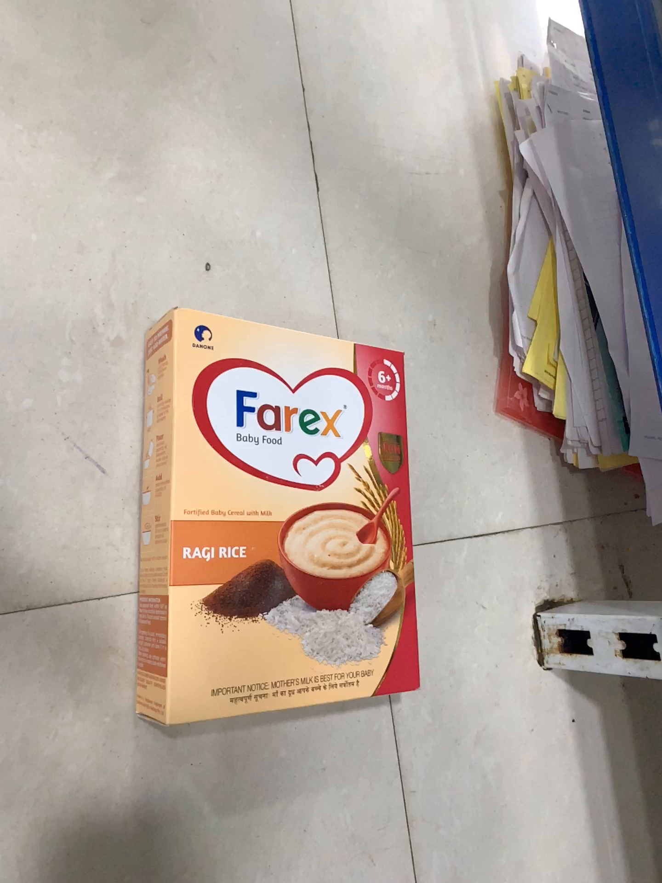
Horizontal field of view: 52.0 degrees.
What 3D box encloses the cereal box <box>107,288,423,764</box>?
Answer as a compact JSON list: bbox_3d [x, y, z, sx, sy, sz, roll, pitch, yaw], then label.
[{"bbox_3d":[-0.026,0.042,0.351,0.151,0.050,0.200,8,76,-37],"label":"cereal box"}]
